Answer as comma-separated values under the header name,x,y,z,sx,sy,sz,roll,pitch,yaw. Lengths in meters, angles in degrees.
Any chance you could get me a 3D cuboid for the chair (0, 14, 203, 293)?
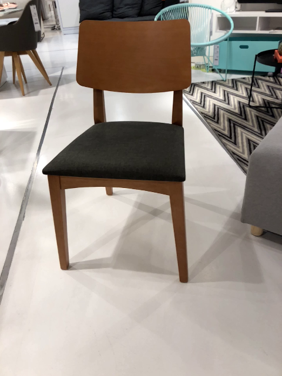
name,x,y,z,sx,sy,sz,roll,pitch,yaw
chair,-0.064,-0.145,1.158,0.530,0.804,0.584,3,34,12
